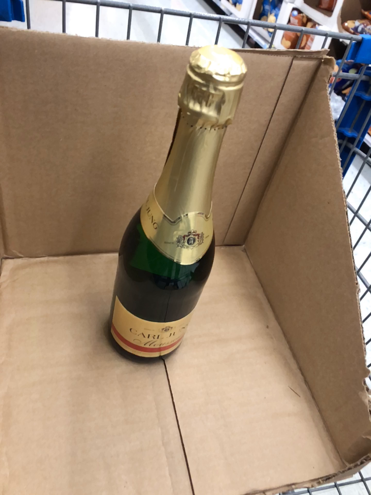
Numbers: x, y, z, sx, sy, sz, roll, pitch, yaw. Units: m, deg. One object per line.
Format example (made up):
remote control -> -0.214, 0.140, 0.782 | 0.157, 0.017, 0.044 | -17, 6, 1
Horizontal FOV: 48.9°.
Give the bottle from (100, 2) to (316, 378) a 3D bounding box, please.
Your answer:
bottle -> -0.010, -0.016, 0.324 | 0.090, 0.288, 0.081 | -4, 44, -19
